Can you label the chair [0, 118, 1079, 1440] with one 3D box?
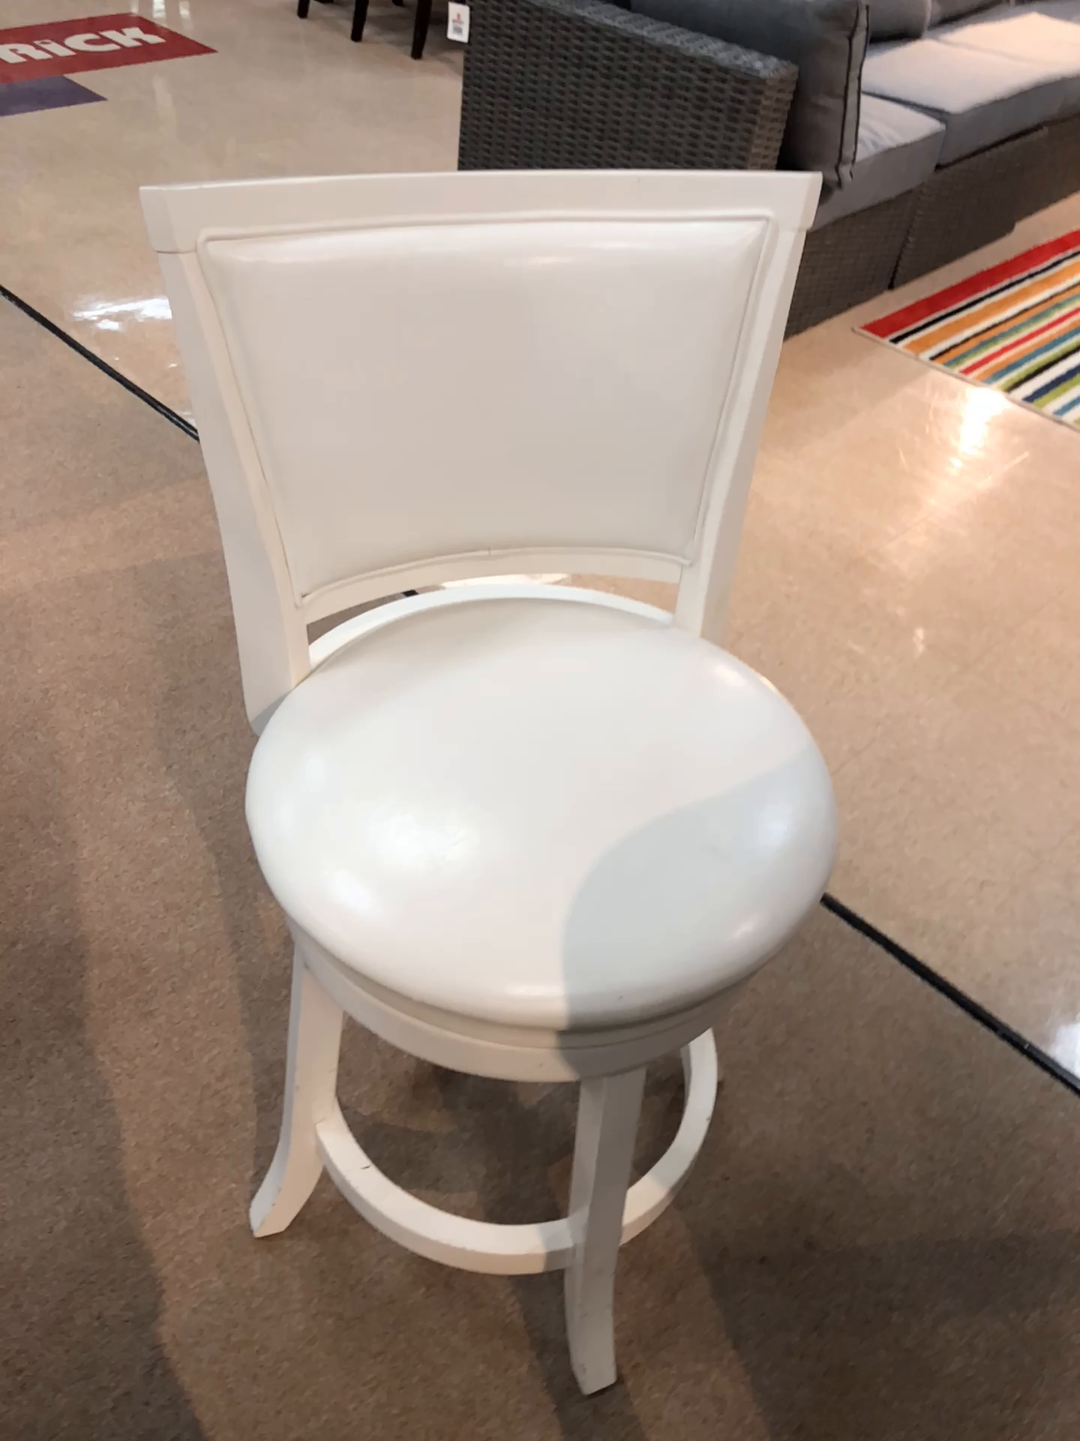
[{"bbox_3d":[0.014,0.103,0.985,0.620,0.944,0.574,-5,43,-12],"label":"chair"}]
